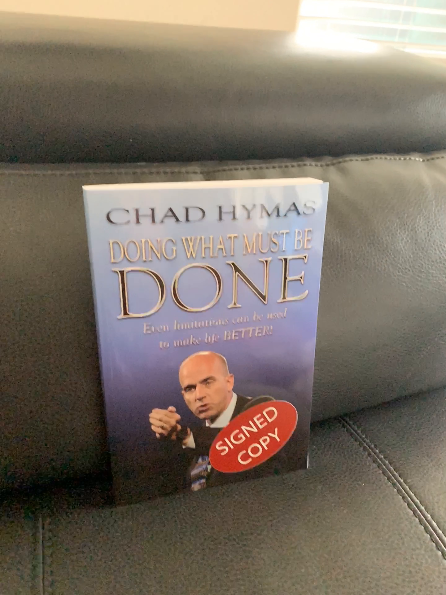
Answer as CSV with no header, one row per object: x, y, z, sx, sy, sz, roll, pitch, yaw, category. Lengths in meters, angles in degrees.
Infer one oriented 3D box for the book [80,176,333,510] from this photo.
-0.009,0.033,0.323,0.157,0.225,0.025,-4,18,-15,book
